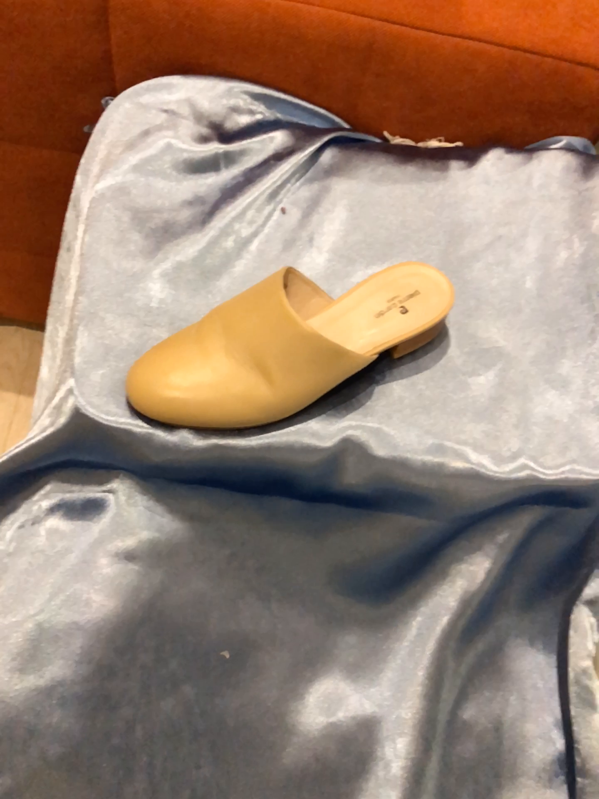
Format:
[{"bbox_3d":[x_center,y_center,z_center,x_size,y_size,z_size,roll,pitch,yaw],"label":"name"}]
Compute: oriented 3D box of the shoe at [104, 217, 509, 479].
[{"bbox_3d":[0.008,-0.042,0.472,0.261,0.060,0.095,-20,71,-17],"label":"shoe"}]
